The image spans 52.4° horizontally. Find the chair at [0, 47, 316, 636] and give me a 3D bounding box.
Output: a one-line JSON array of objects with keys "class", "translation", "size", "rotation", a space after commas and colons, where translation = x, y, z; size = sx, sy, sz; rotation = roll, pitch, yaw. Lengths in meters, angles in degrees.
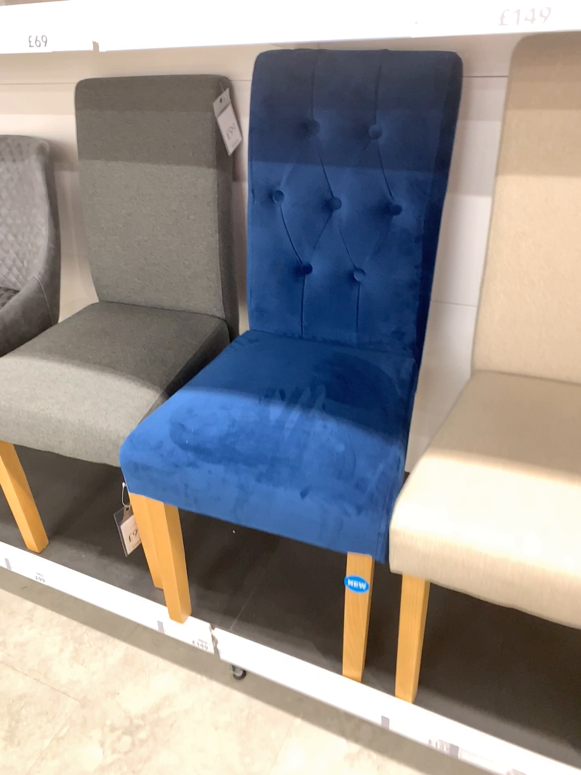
[{"class": "chair", "translation": [-0.300, -0.147, 1.311], "size": [0.490, 1.026, 0.671], "rotation": [11, 30, 23]}]

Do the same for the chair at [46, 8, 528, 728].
[{"class": "chair", "translation": [0.078, -0.071, 1.129], "size": [0.490, 1.035, 0.671], "rotation": [11, 30, 23]}]

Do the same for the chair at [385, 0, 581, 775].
[{"class": "chair", "translation": [0.511, 0.012, 0.936], "size": [0.490, 1.035, 0.671], "rotation": [11, 30, 23]}]
